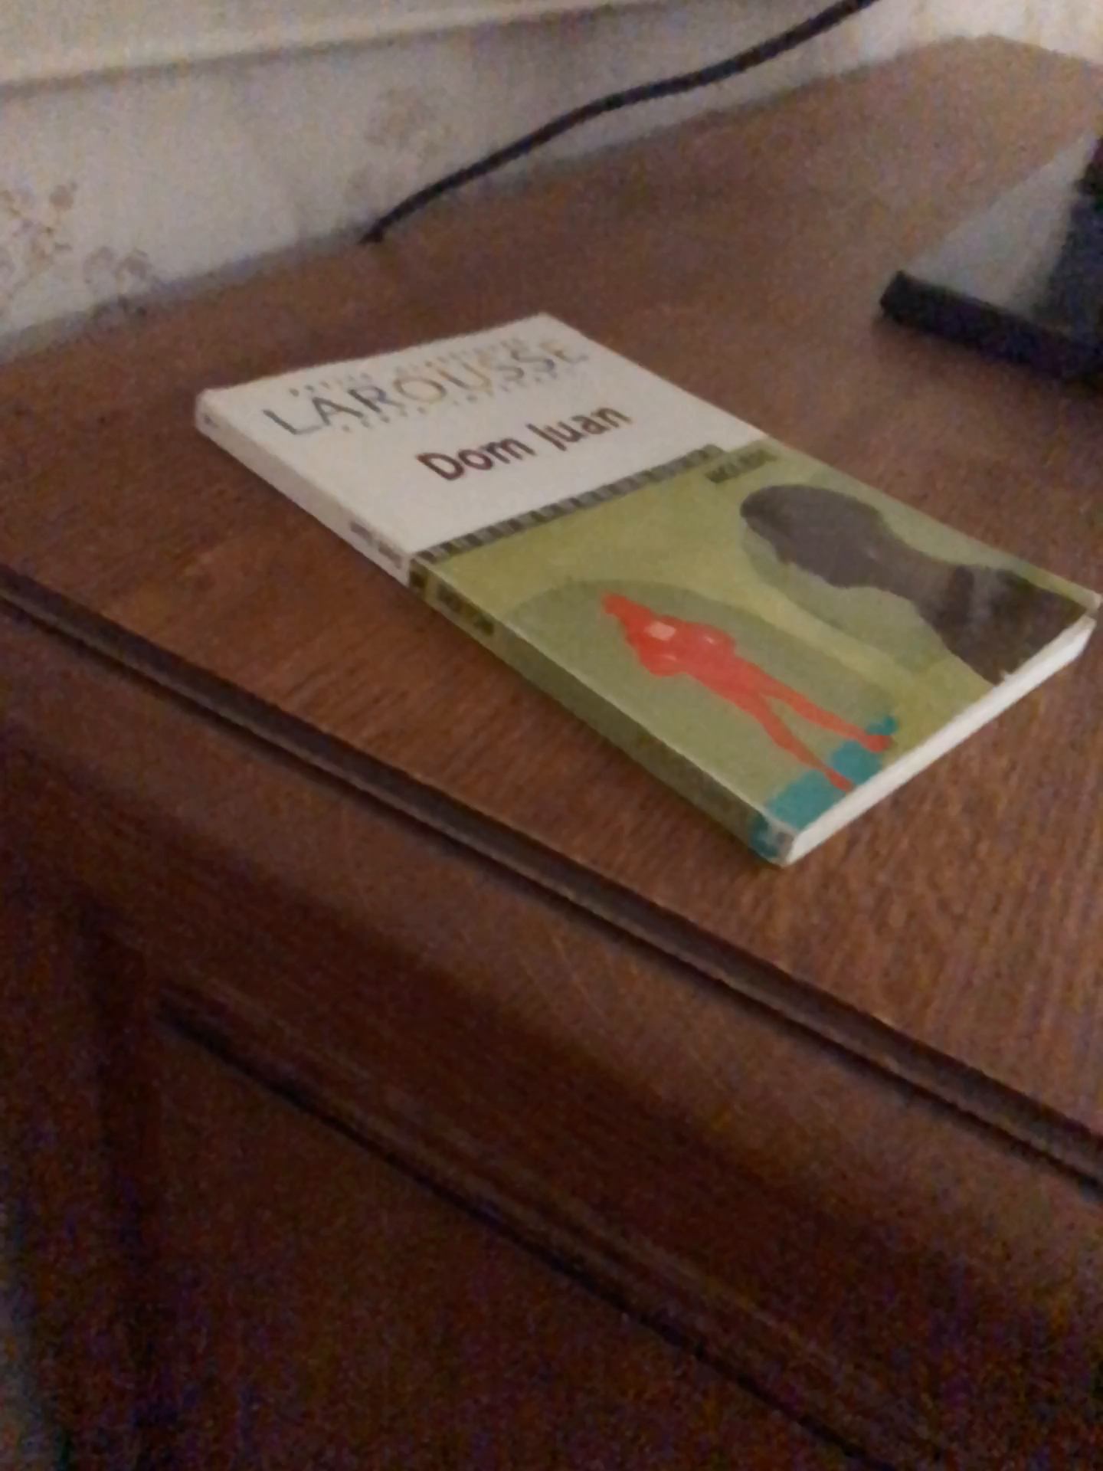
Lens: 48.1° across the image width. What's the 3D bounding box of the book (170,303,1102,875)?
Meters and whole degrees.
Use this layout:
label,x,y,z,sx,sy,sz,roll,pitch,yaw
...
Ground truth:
label,x,y,z,sx,sy,sz,roll,pitch,yaw
book,0.017,-0.050,0.272,0.116,0.010,0.180,-27,52,-39
